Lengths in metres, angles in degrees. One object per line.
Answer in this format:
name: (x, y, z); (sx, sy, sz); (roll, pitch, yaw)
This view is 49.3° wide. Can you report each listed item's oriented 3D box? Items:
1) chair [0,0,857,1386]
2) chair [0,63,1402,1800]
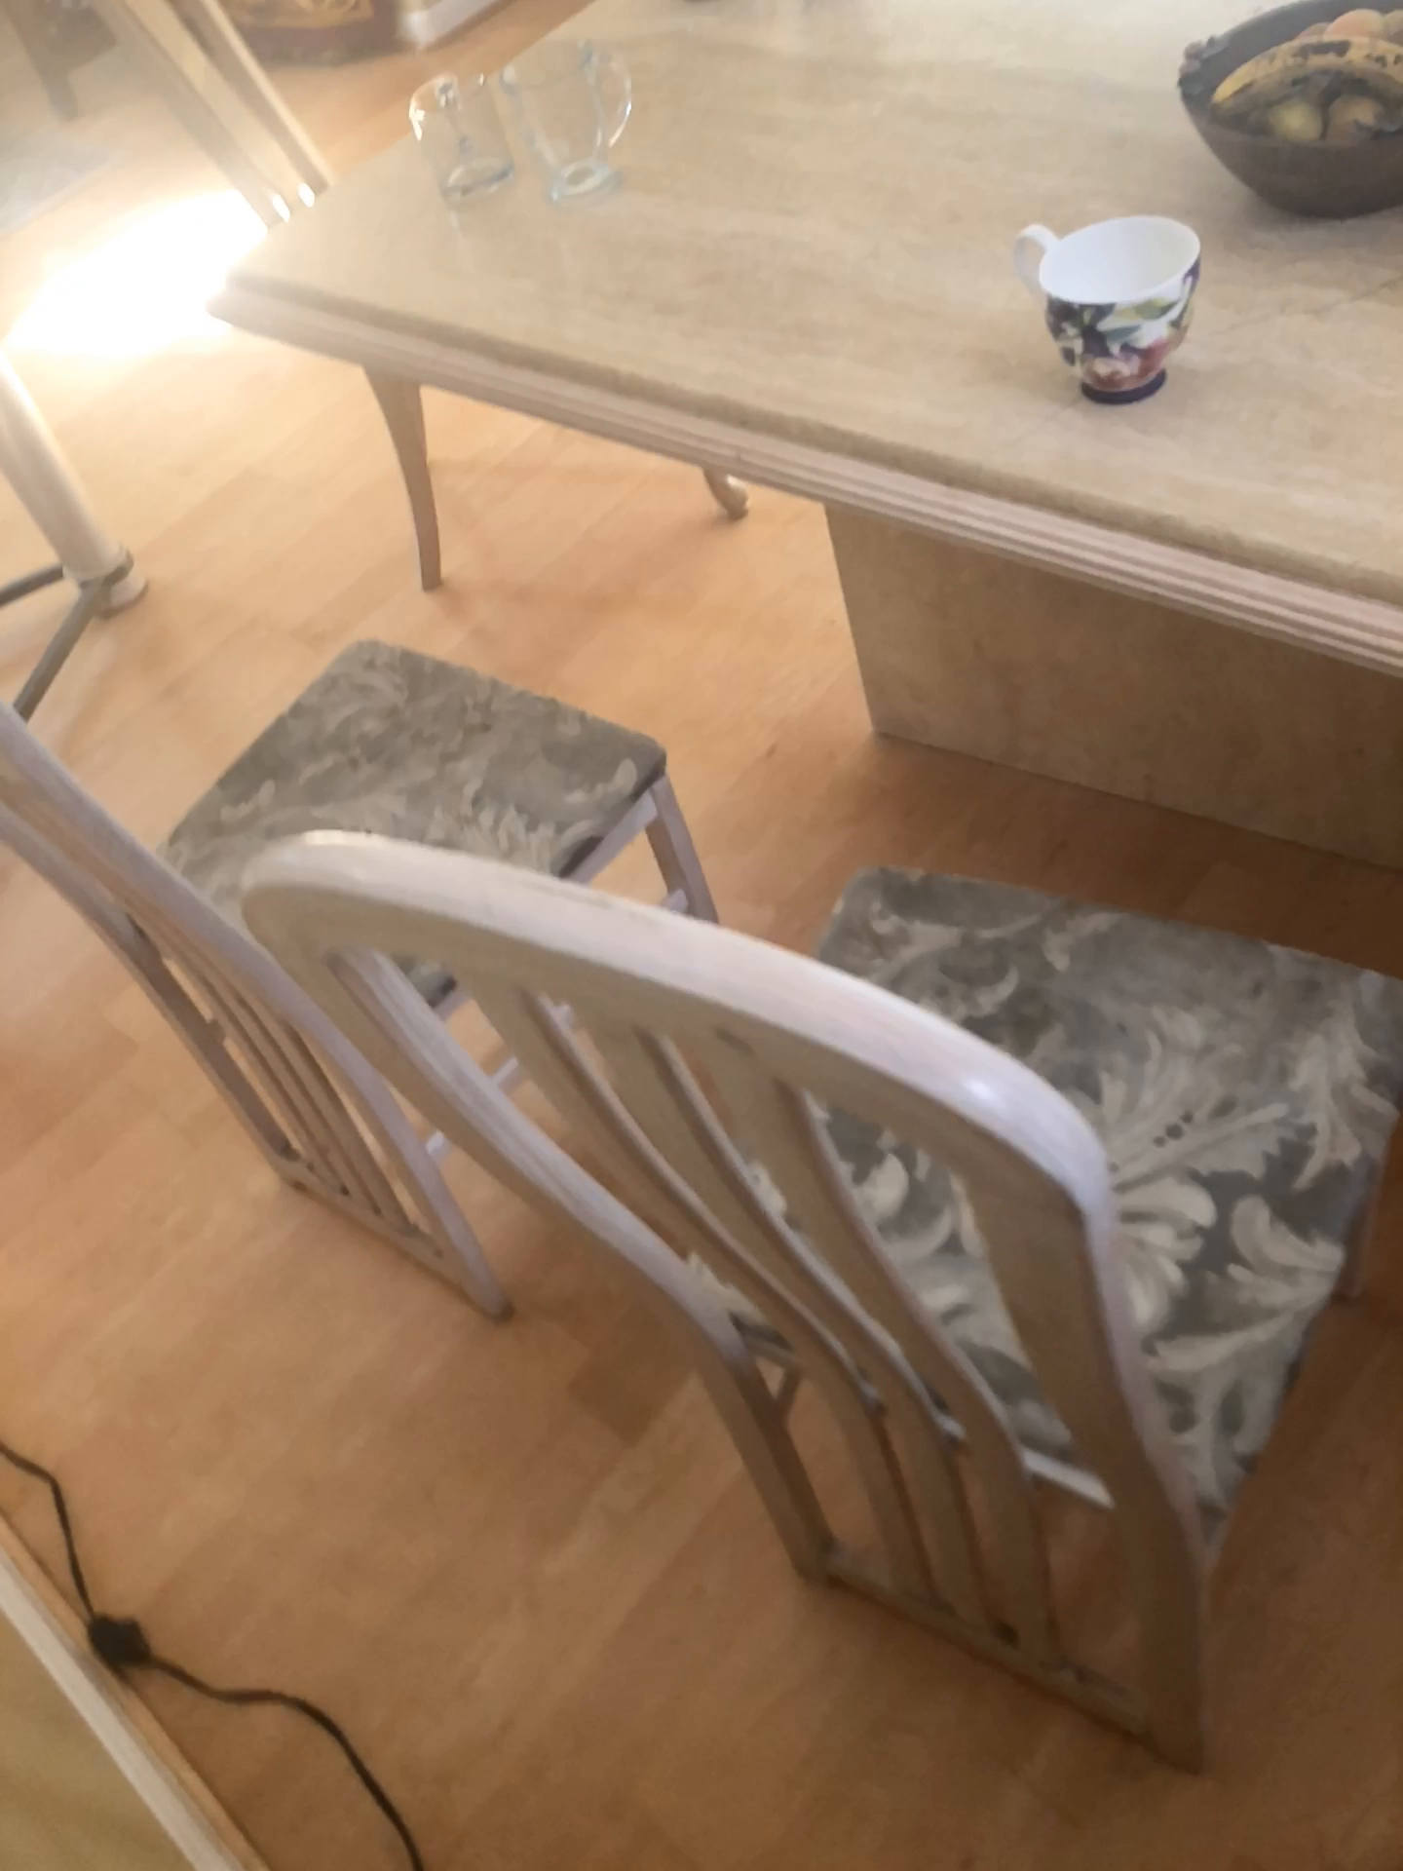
chair: (-0.314, -0.177, 1.370); (0.481, 1.142, 0.563); (24, 63, 33)
chair: (0.124, 0.090, 1.124); (0.481, 1.142, 0.563); (19, 58, 31)
